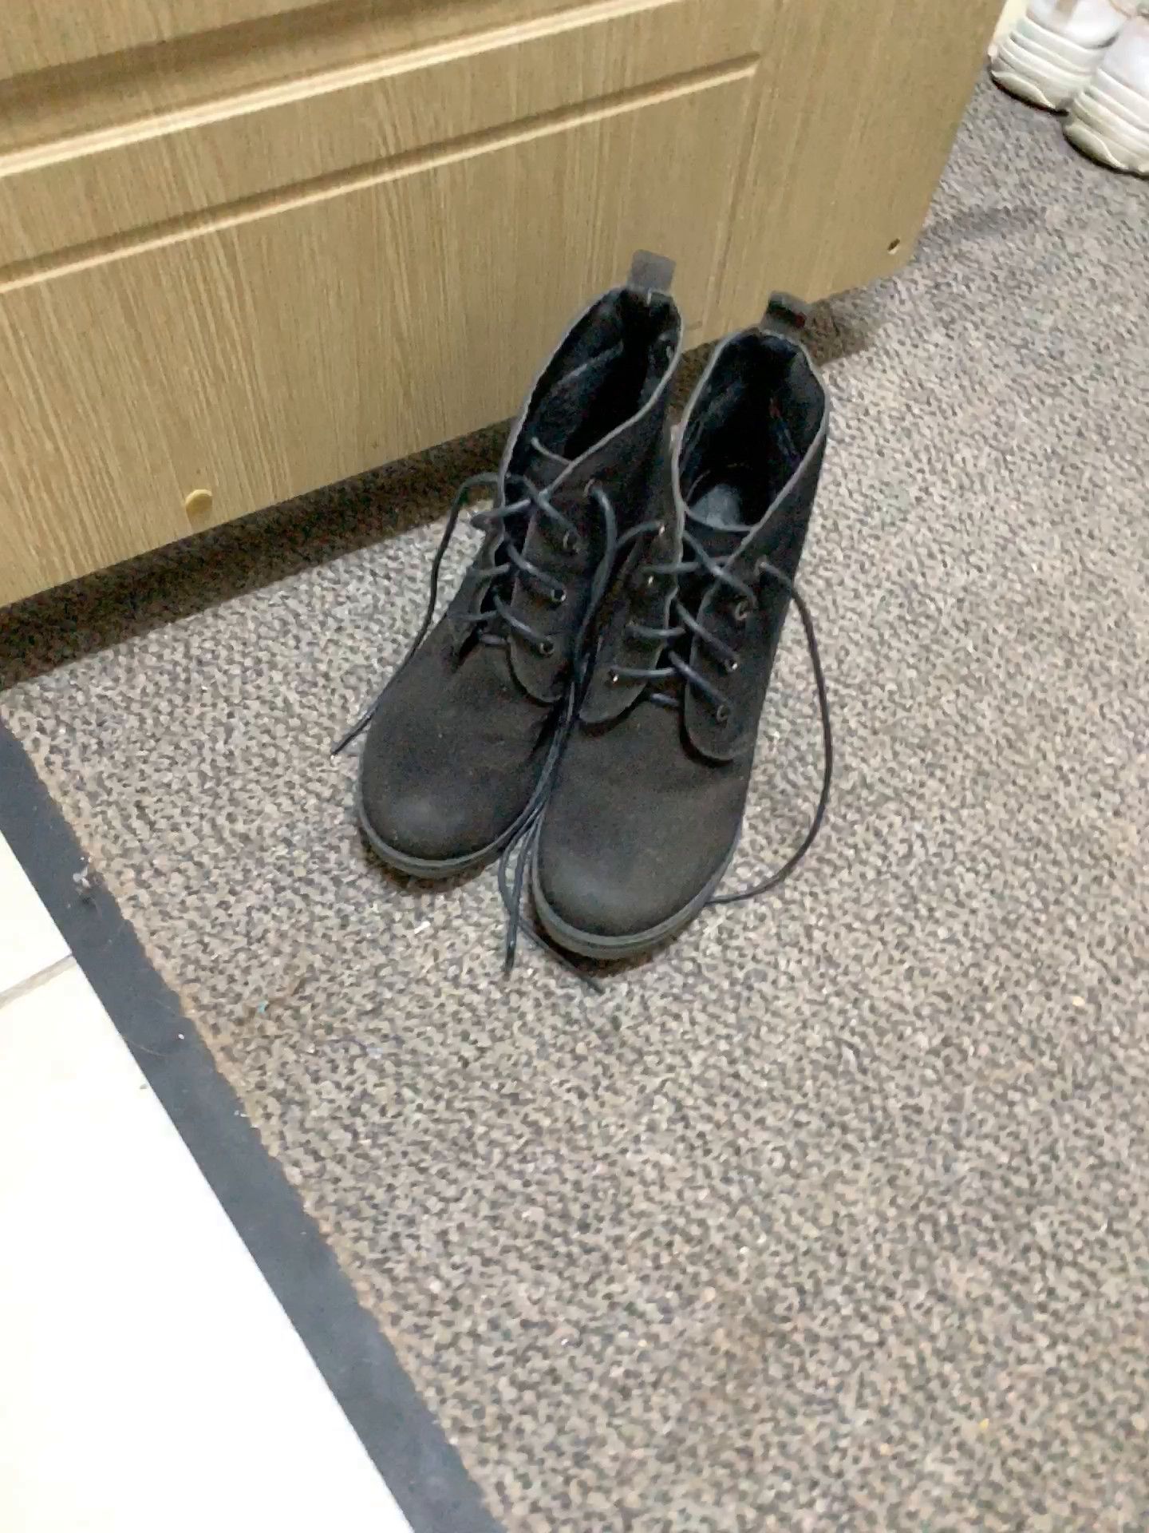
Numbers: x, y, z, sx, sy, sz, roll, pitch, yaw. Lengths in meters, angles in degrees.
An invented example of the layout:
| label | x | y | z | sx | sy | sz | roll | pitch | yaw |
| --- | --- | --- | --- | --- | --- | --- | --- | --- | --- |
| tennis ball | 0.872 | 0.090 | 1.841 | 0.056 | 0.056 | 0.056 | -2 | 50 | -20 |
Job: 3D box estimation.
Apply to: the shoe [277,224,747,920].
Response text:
| label | x | y | z | sx | sy | sz | roll | pitch | yaw |
| --- | --- | --- | --- | --- | --- | --- | --- | --- | --- |
| shoe | -0.018 | -0.079 | 0.491 | 0.080 | 0.160 | 0.230 | 22 | 61 | 8 |

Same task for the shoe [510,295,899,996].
| label | x | y | z | sx | sy | sz | roll | pitch | yaw |
| --- | --- | --- | --- | --- | --- | --- | --- | --- | --- |
| shoe | 0.052 | -0.048 | 0.489 | 0.080 | 0.160 | 0.230 | 18 | 60 | 6 |
